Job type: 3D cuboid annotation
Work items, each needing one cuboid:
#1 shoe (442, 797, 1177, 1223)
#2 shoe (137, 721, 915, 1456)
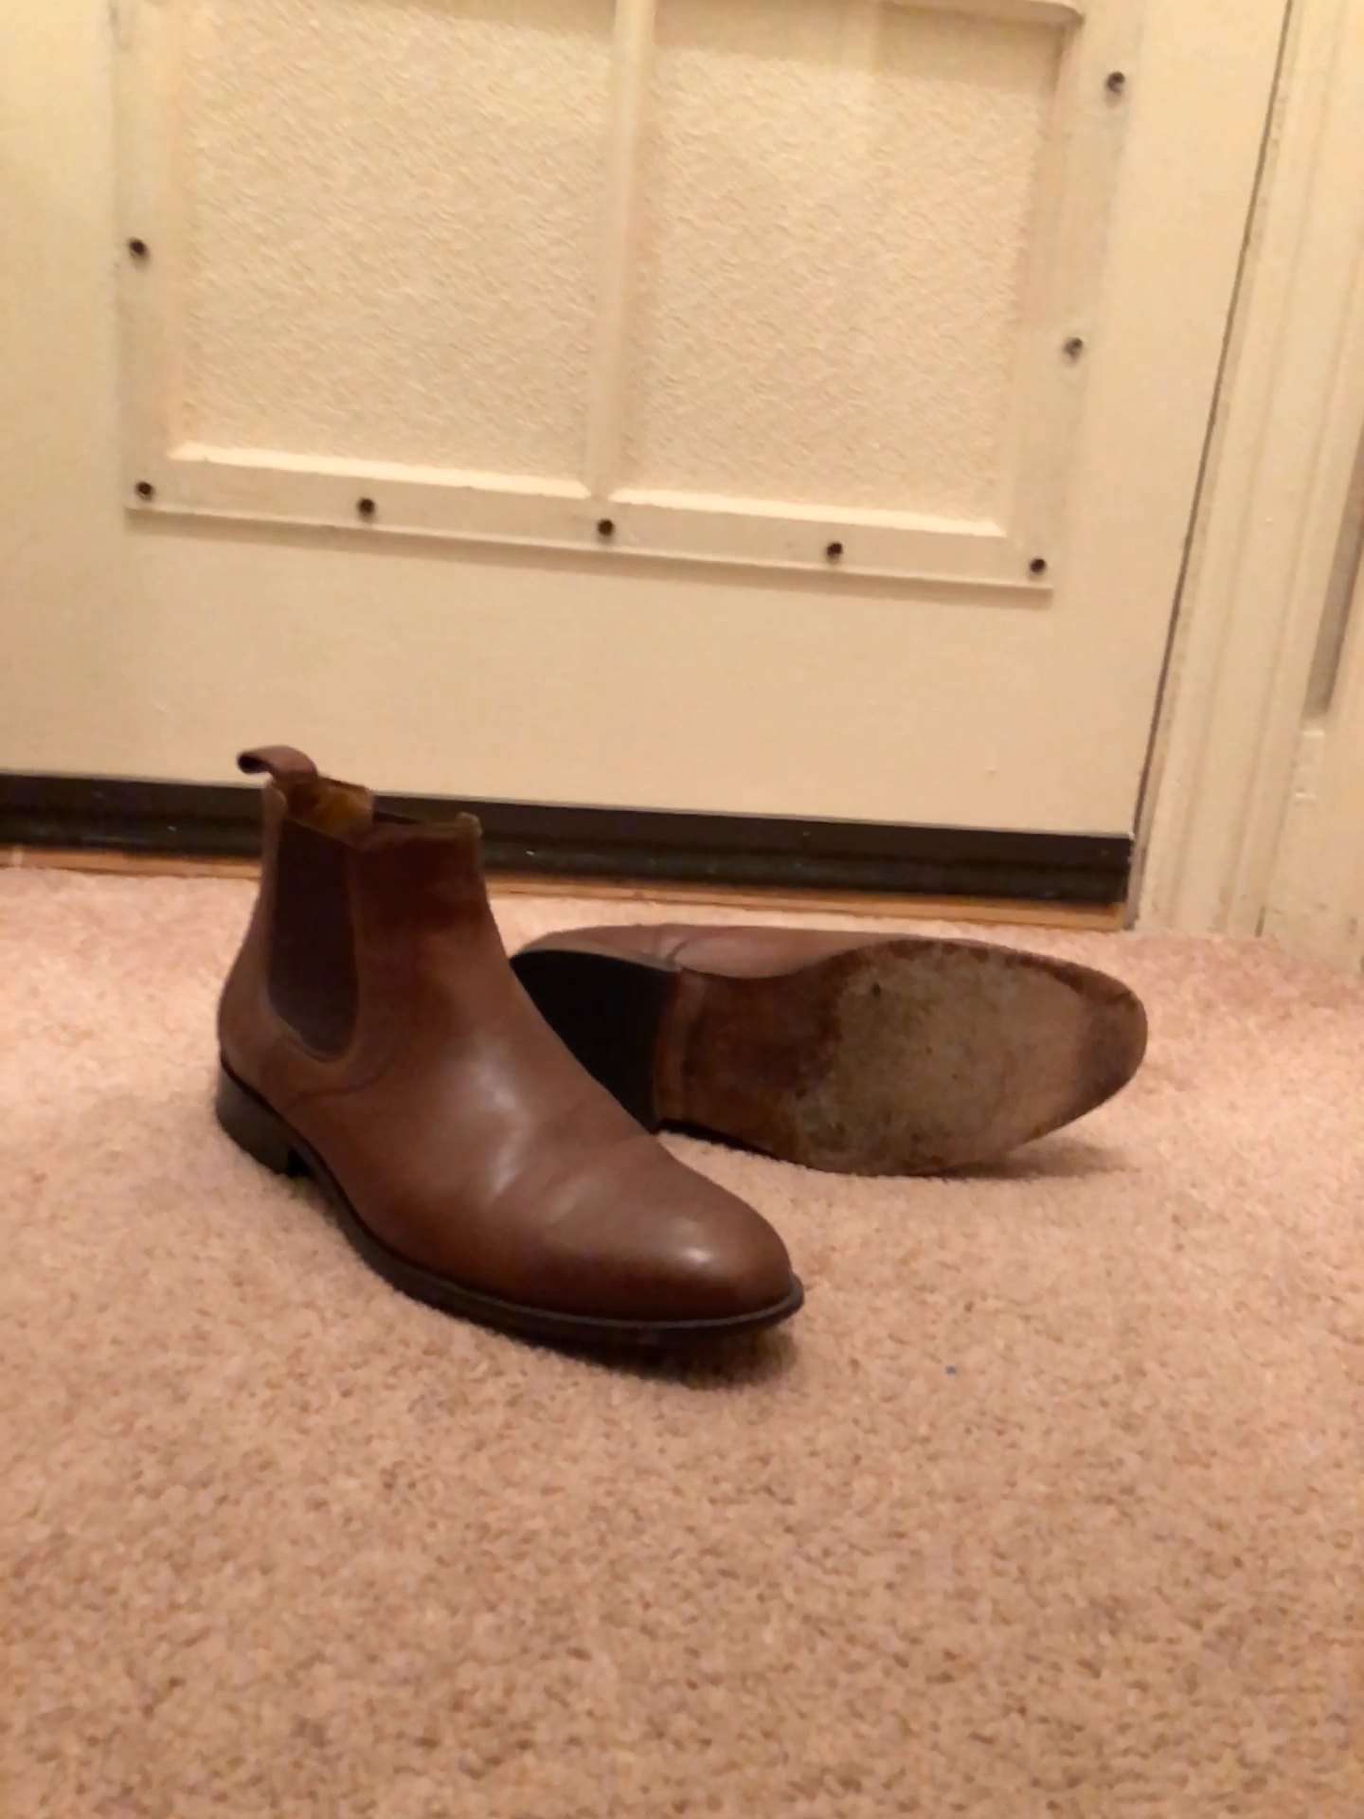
[{"bbox_3d":[0.053,0.038,0.712,0.296,0.119,0.170,7,15,0],"label":"shoe"},{"bbox_3d":[-0.077,0.039,0.554,0.296,0.158,0.109,20,21,40],"label":"shoe"}]
